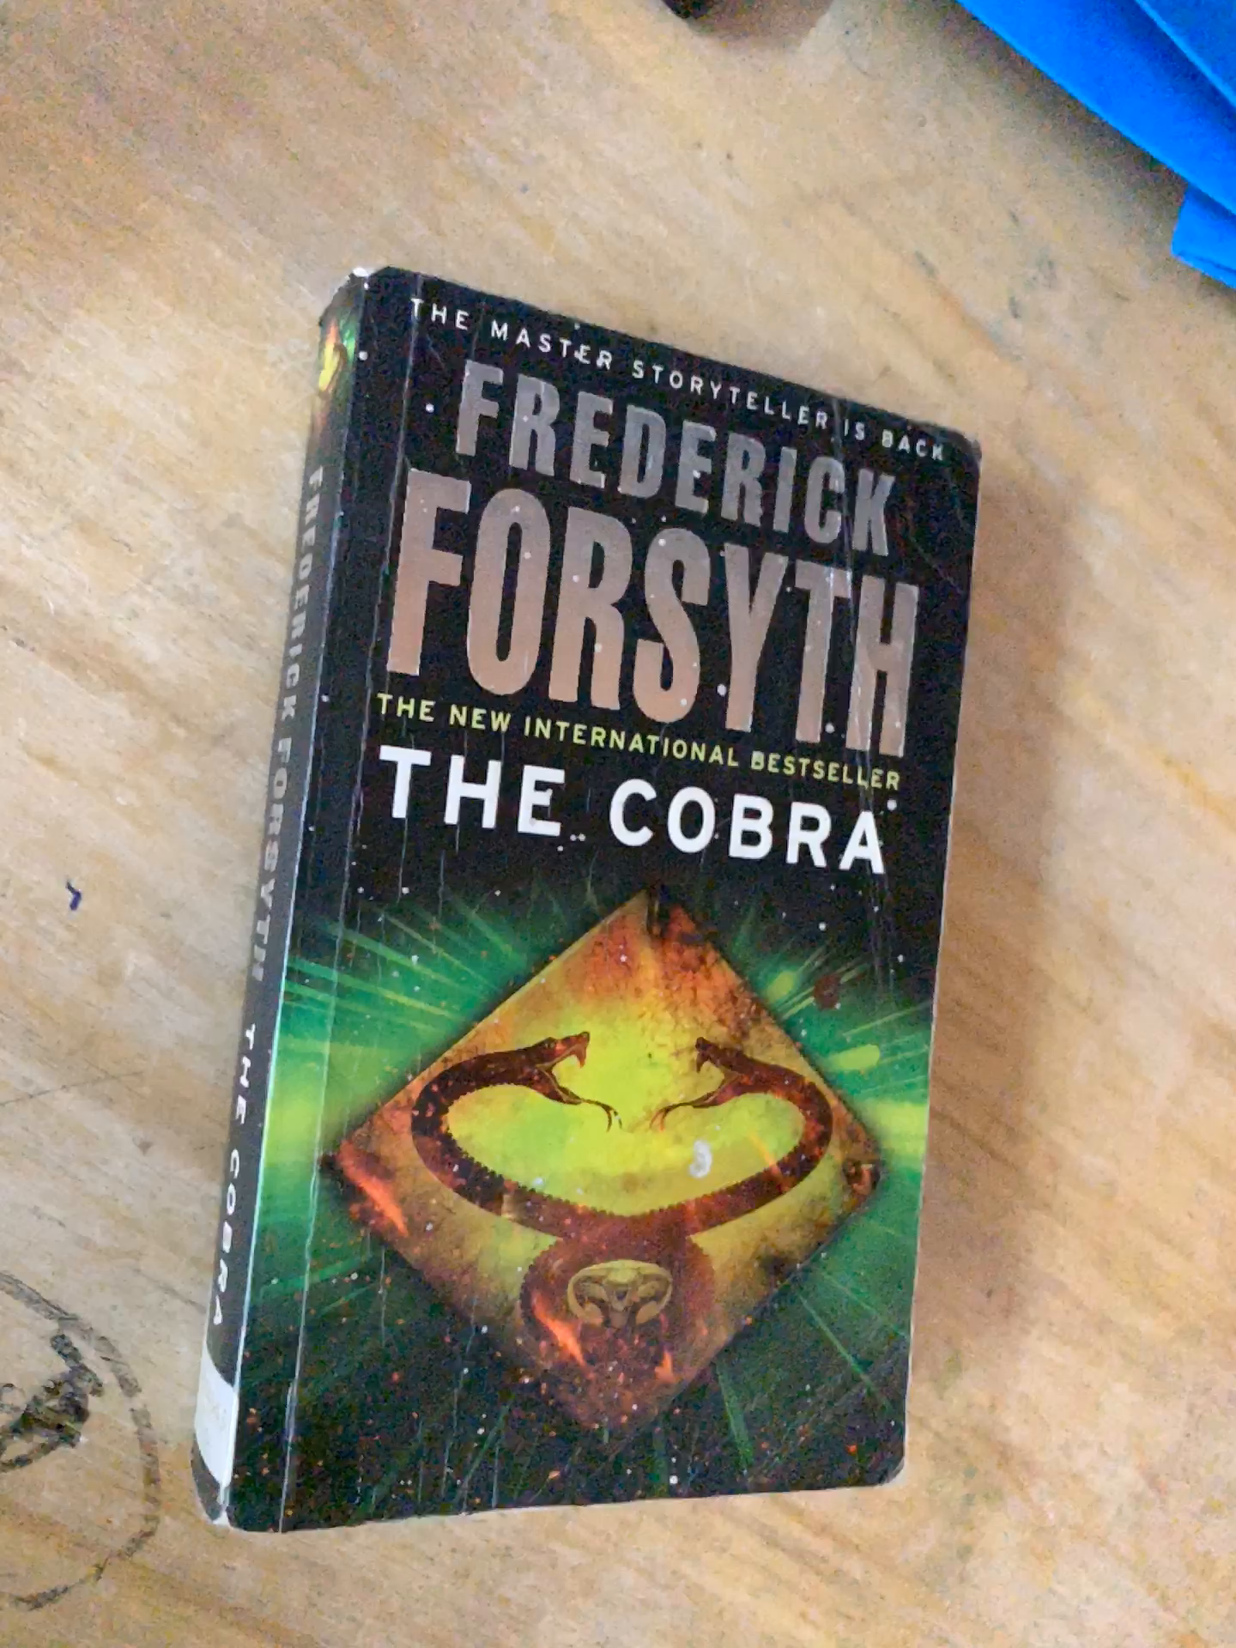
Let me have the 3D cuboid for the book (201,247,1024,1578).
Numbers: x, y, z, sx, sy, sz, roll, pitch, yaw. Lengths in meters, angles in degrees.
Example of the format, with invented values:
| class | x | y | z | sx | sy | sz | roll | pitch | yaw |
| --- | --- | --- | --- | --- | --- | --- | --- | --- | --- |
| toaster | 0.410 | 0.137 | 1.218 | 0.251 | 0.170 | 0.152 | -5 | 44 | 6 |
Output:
| class | x | y | z | sx | sy | sz | roll | pitch | yaw |
| --- | --- | --- | --- | --- | --- | --- | --- | --- | --- |
| book | 0.001 | 0.014 | 0.194 | 0.100 | 0.040 | 0.160 | 7 | 87 | -23 |
